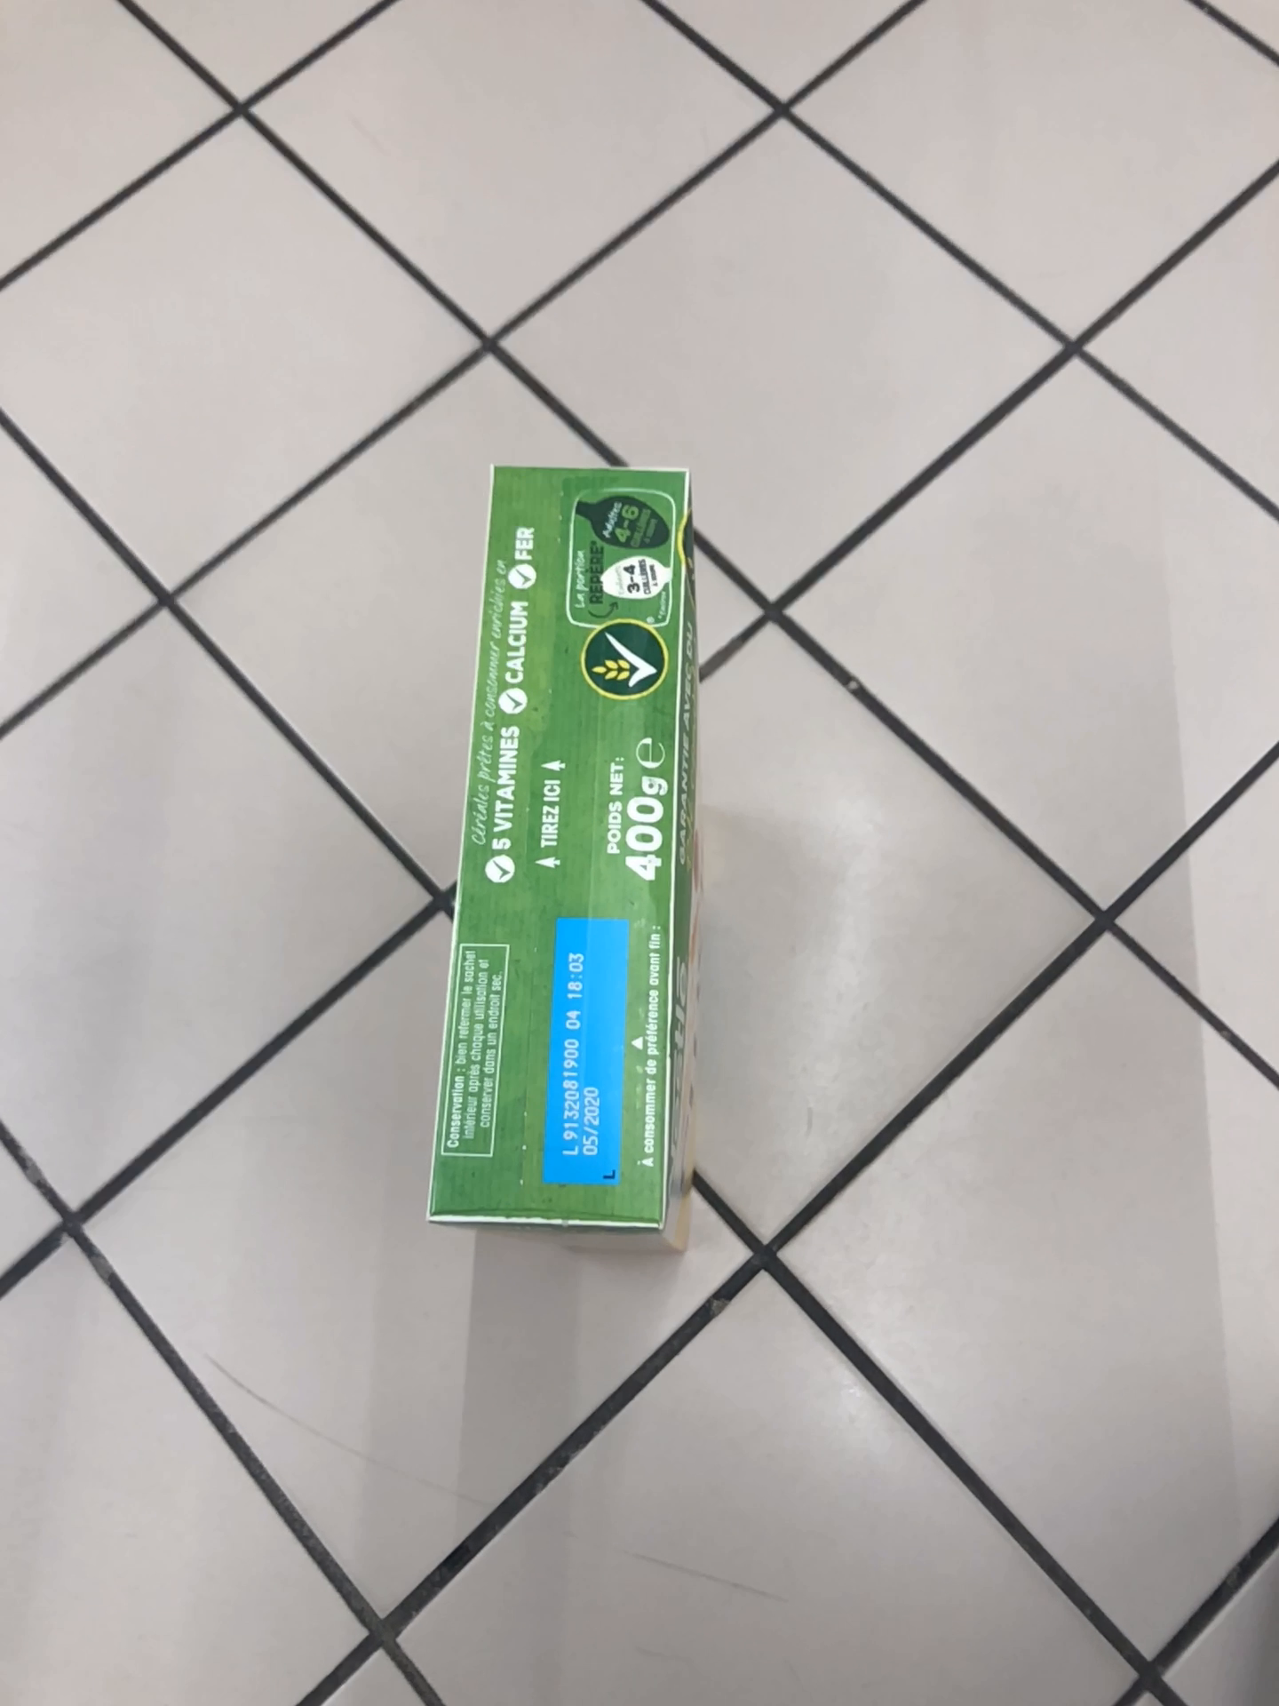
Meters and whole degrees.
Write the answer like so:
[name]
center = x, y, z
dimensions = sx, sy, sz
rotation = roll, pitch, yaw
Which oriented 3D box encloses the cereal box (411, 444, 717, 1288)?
[cereal box]
center = -0.008, 0.033, 0.471
dimensions = 0.060, 0.270, 0.210
rotation = 2, 73, 4
